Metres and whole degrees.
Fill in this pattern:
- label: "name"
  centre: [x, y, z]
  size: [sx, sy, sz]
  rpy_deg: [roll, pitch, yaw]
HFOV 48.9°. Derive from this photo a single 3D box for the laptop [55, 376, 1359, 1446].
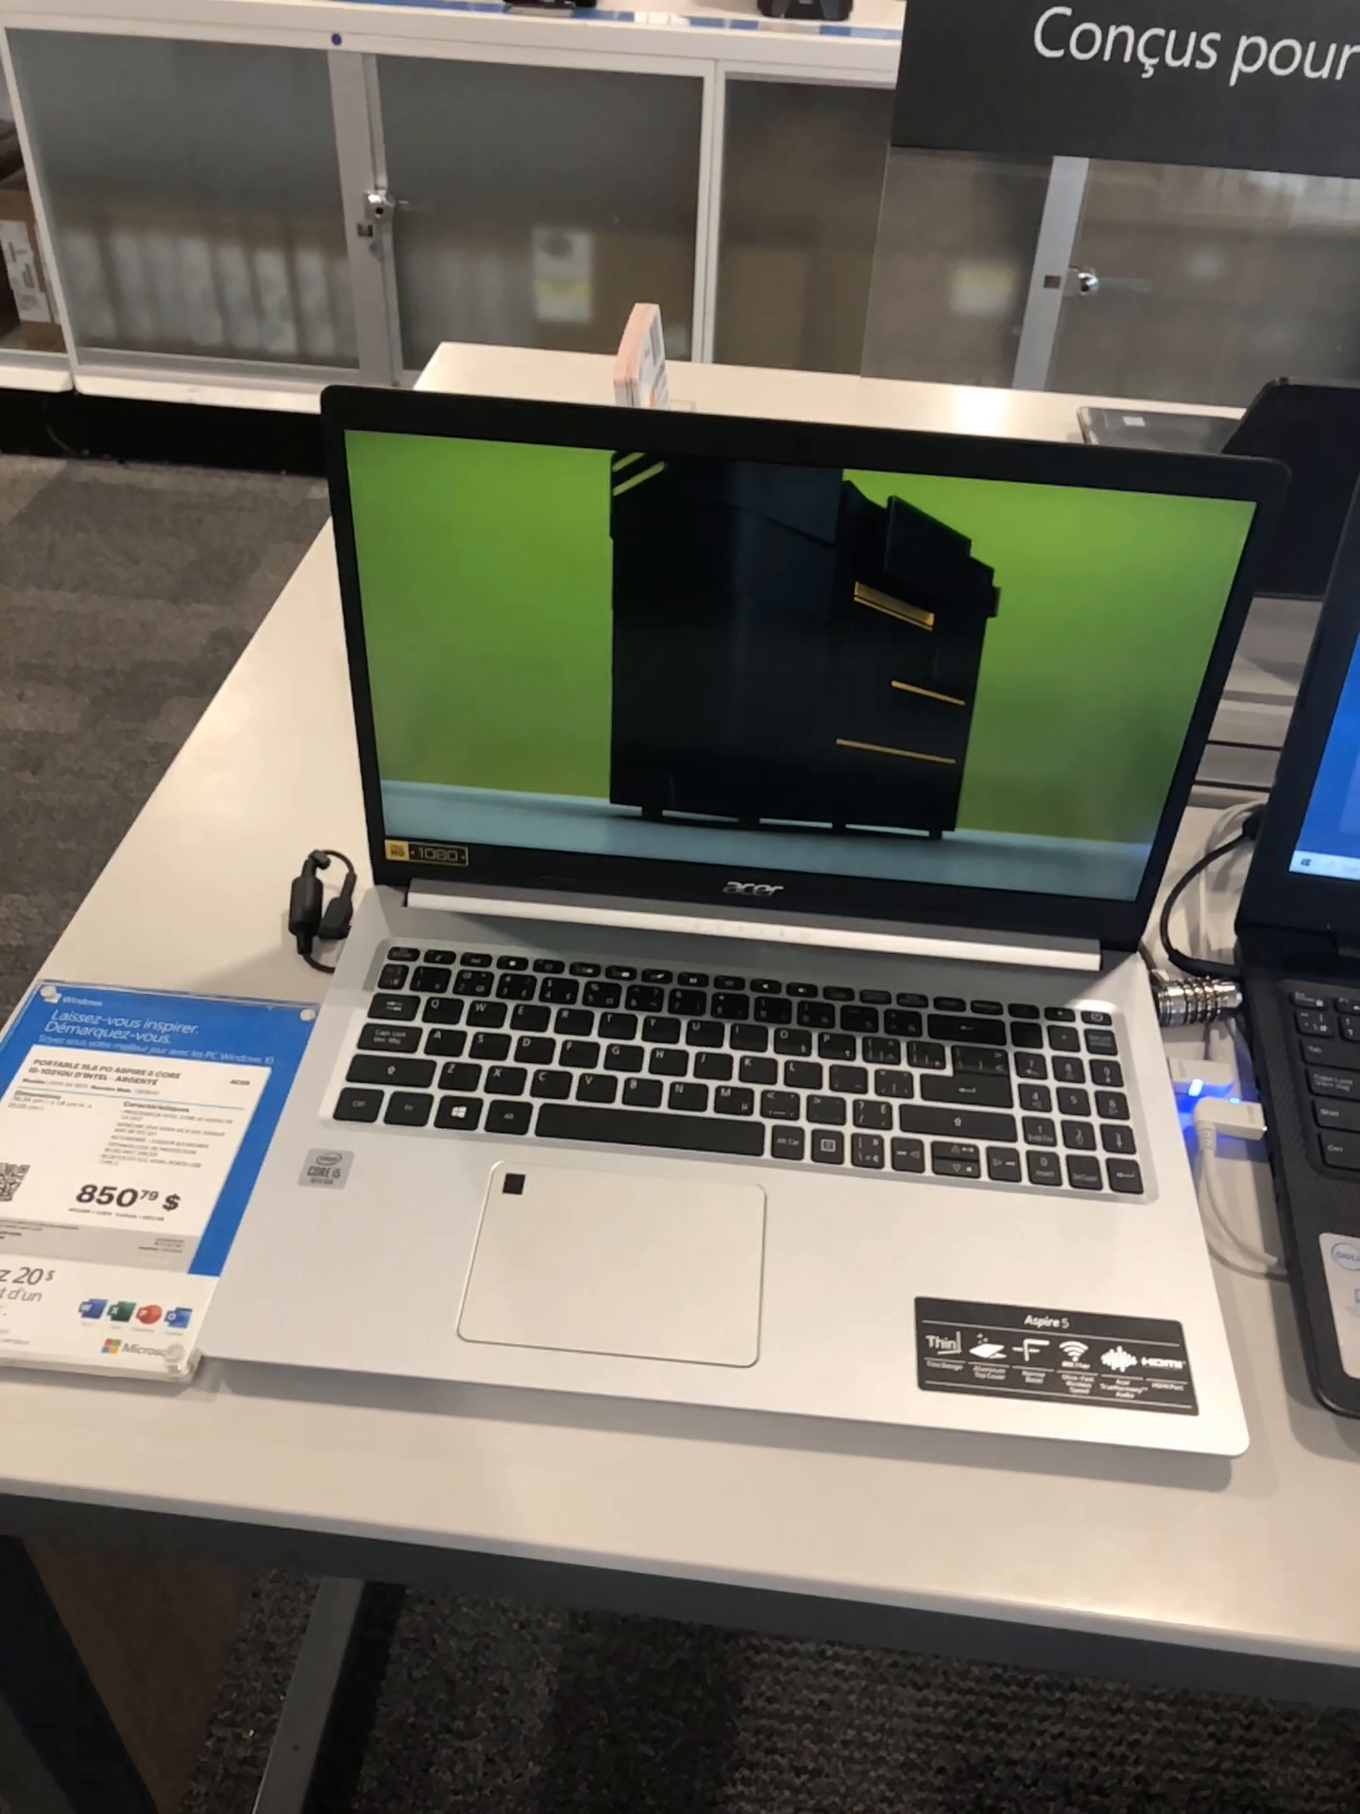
- label: "laptop"
  centre: [0.025, -0.011, 0.535]
  size: [0.349, 0.229, 0.268]
  rpy_deg: [5, 41, 3]
